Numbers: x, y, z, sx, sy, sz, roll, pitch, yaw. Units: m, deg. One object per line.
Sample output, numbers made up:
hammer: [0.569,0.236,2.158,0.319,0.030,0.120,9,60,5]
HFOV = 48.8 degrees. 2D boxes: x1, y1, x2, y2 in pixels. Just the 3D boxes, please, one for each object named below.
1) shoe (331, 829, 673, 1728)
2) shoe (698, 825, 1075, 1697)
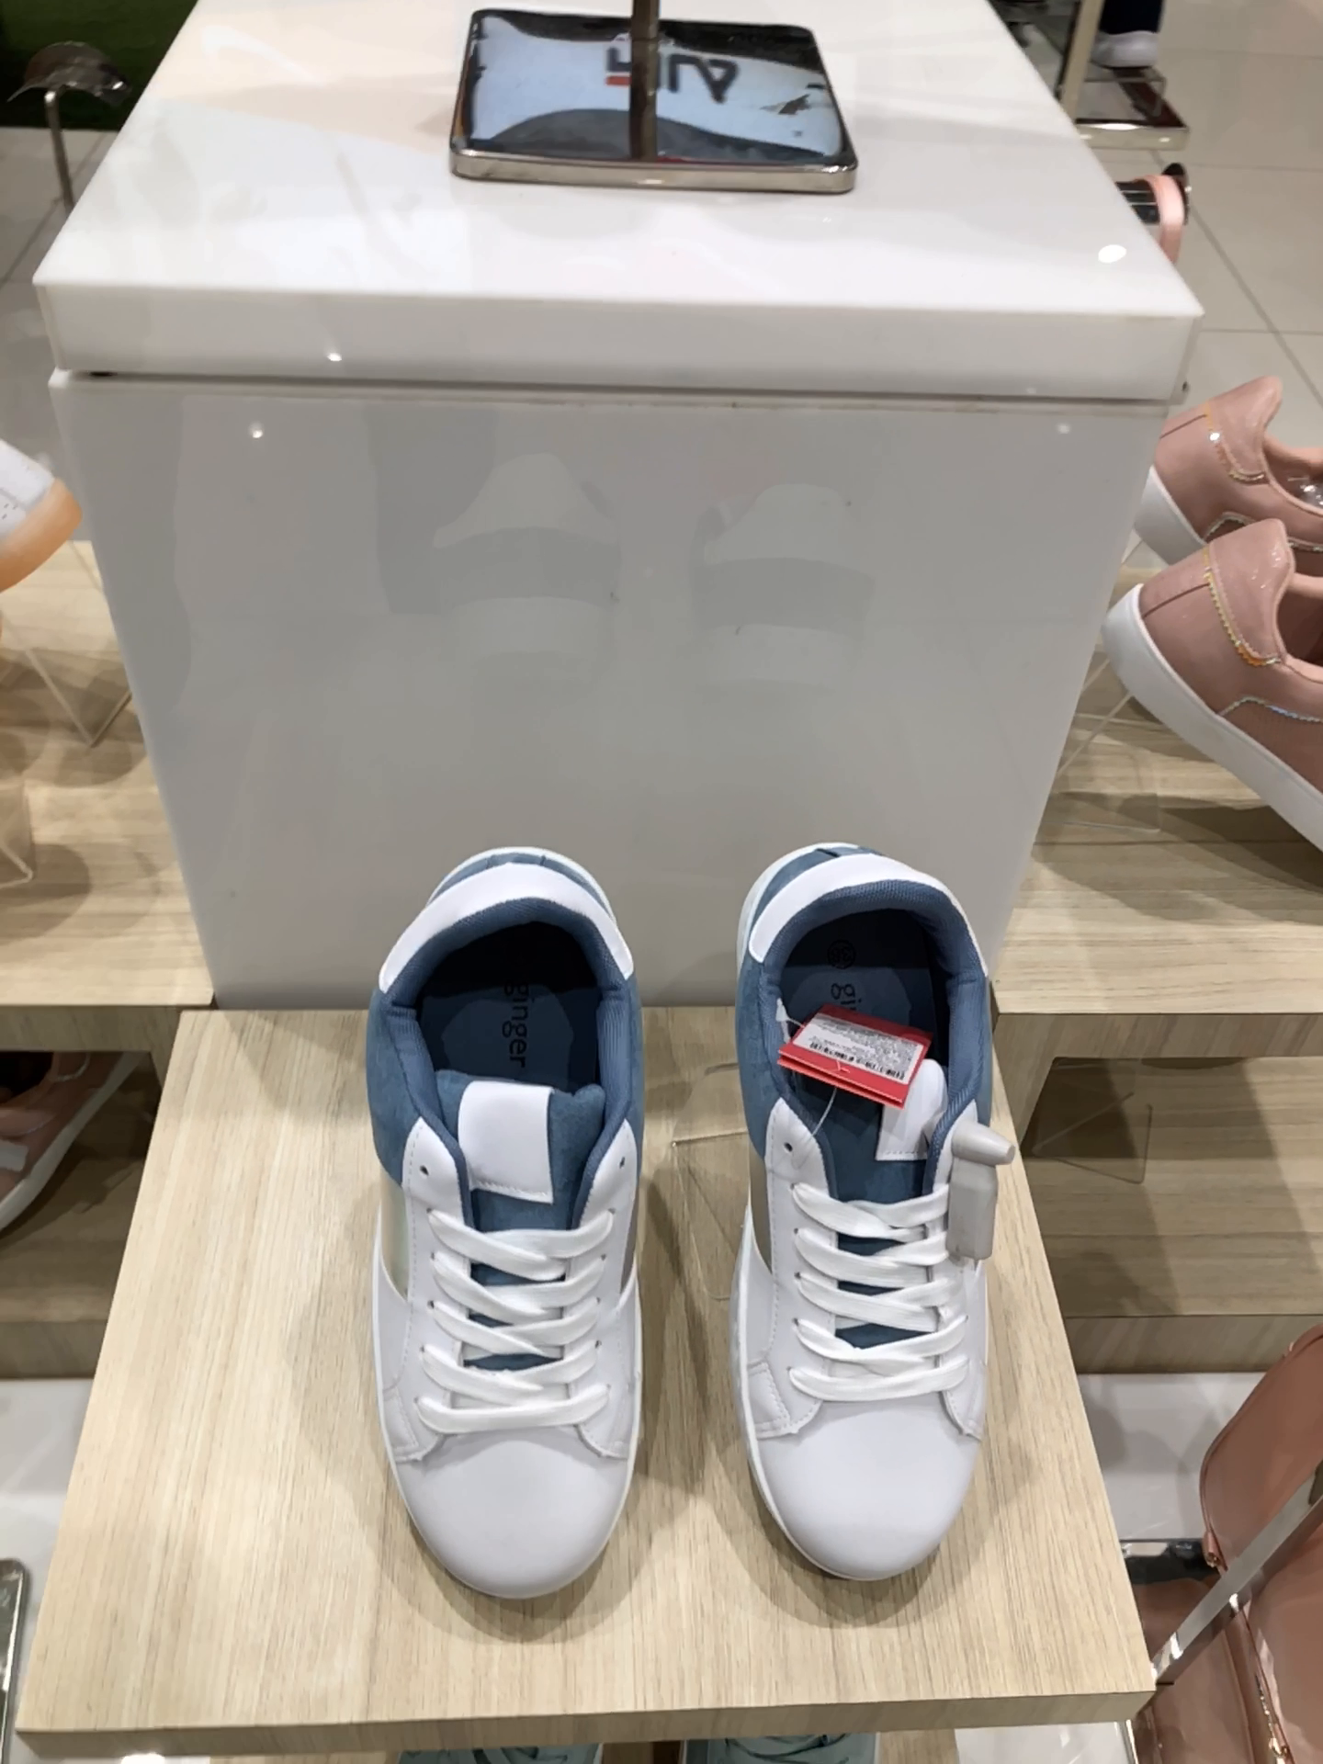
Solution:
shoe: [-0.051,0.115,0.481,0.092,0.261,0.104,-2,2,-6]
shoe: [0.069,0.114,0.493,0.102,0.263,0.104,0,4,-4]
